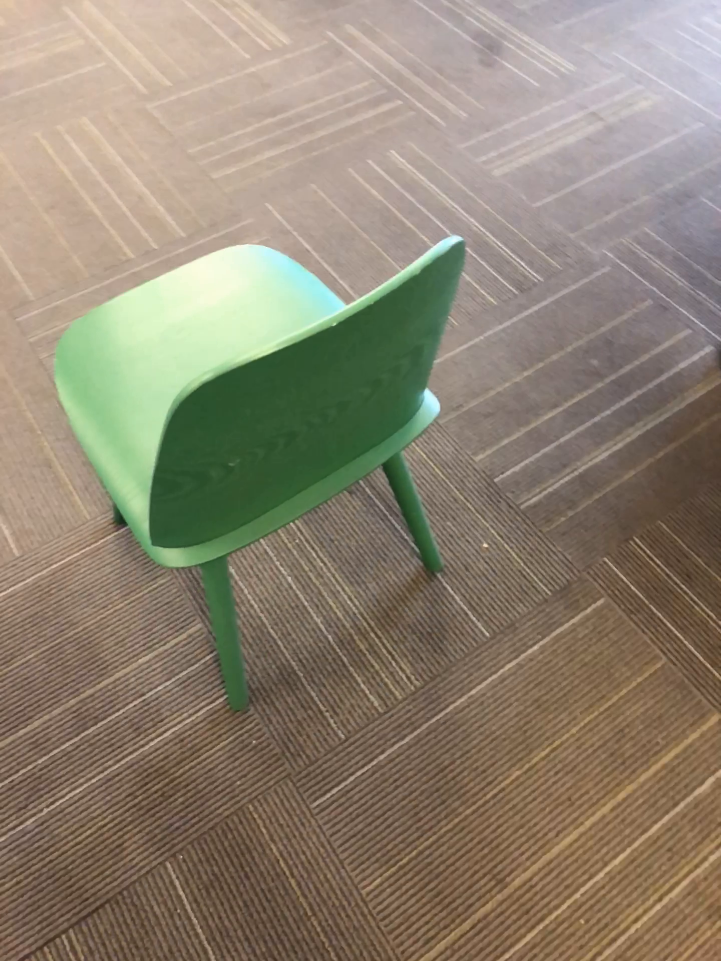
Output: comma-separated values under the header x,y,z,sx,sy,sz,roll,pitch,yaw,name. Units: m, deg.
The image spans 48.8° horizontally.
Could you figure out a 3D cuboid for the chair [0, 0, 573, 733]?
x,y,z,sx,sy,sz,roll,pitch,yaw,name
-0.155,-0.134,1.068,0.500,0.778,0.501,-31,60,-20,chair
